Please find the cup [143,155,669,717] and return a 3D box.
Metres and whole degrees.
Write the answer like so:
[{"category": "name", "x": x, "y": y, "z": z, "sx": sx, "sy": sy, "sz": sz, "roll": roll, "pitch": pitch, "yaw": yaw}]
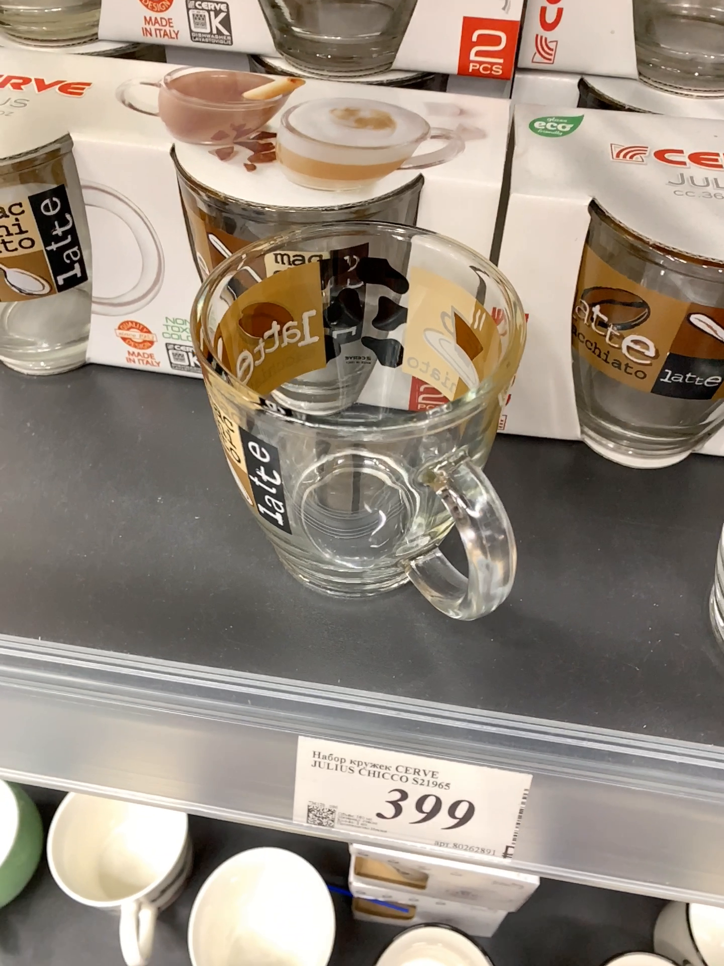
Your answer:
[{"category": "cup", "x": 0.002, "y": -0.019, "z": 0.218, "sx": 0.084, "sy": 0.086, "sz": 0.119, "roll": -20, "pitch": 53, "yaw": -17}]
